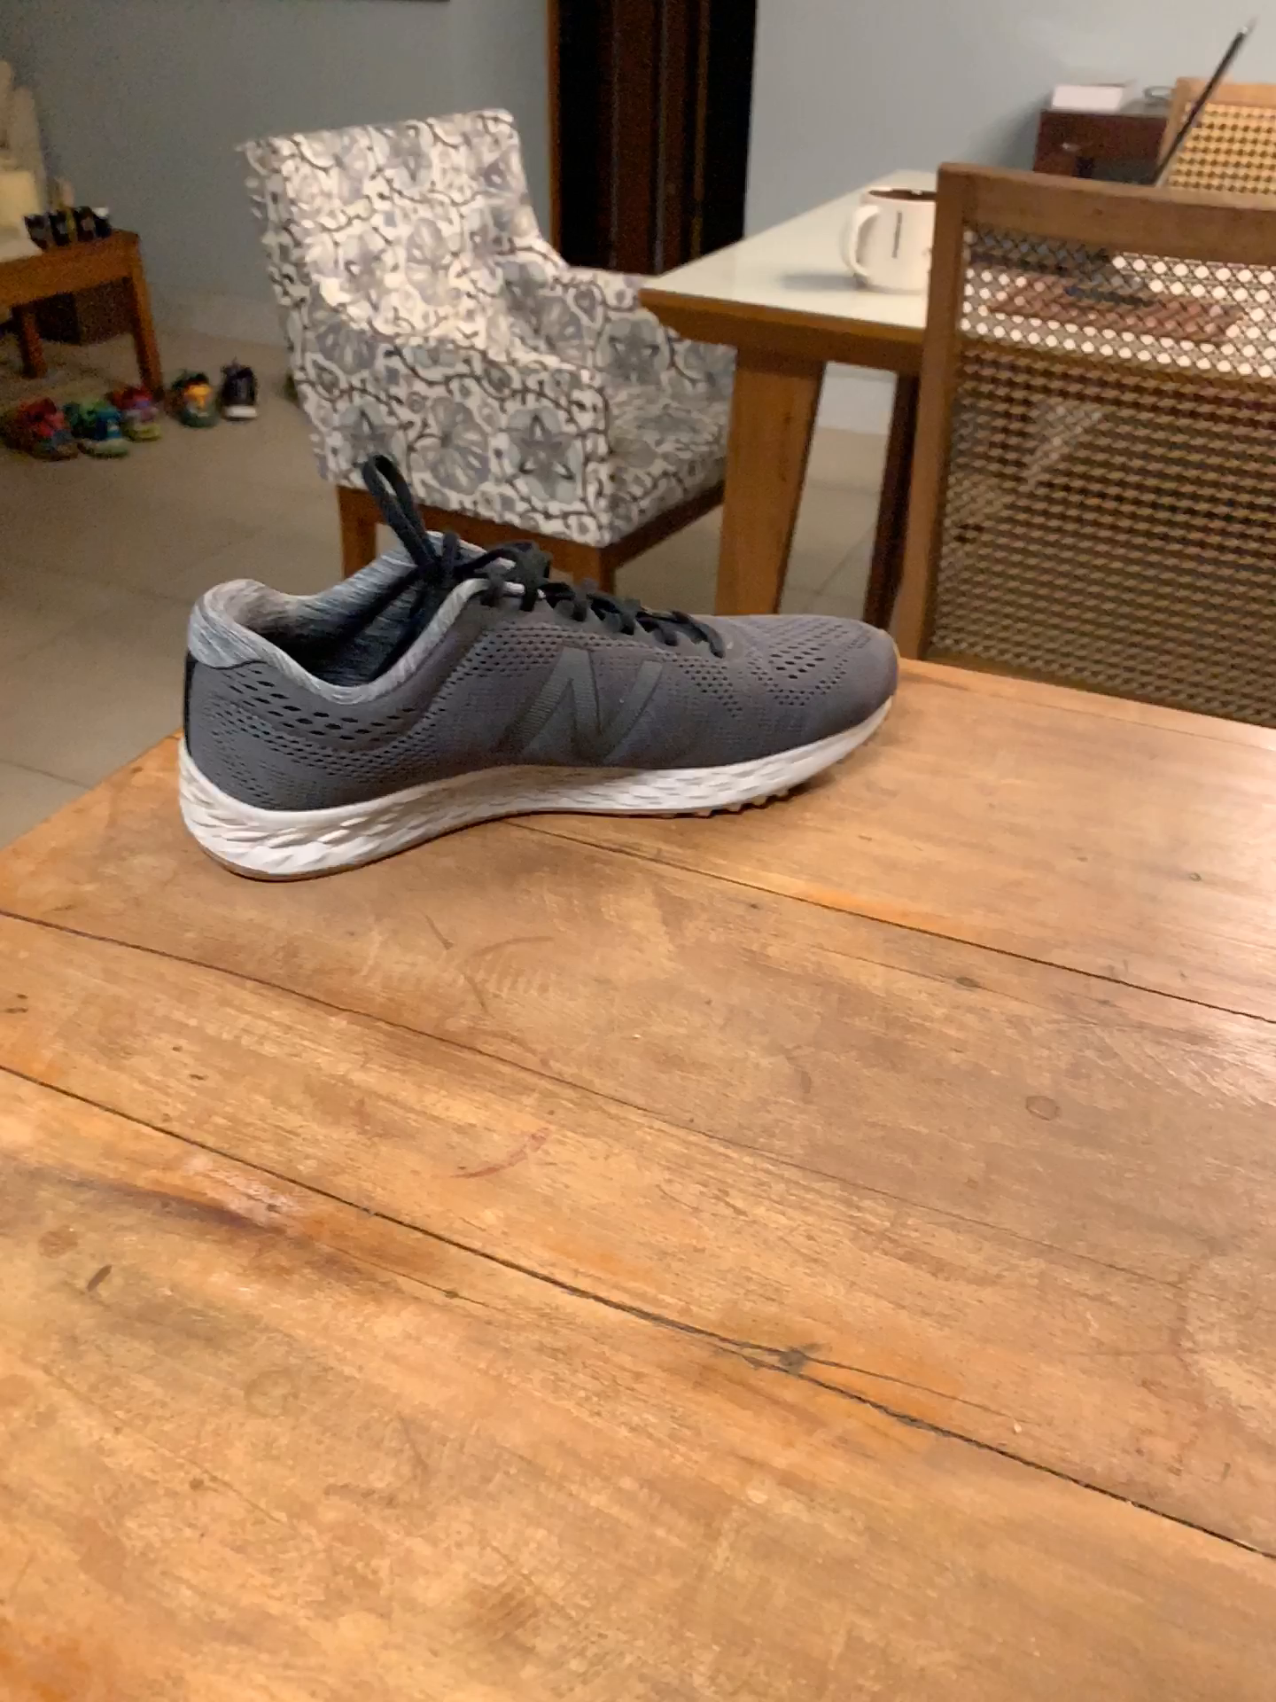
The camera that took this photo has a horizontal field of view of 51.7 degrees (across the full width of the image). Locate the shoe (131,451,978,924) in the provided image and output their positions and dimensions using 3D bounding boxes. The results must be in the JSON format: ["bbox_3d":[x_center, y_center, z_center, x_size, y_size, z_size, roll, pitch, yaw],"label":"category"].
[{"bbox_3d":[-0.033,-0.075,0.527,0.300,0.109,0.111,-11,36,-16],"label":"shoe"}]
